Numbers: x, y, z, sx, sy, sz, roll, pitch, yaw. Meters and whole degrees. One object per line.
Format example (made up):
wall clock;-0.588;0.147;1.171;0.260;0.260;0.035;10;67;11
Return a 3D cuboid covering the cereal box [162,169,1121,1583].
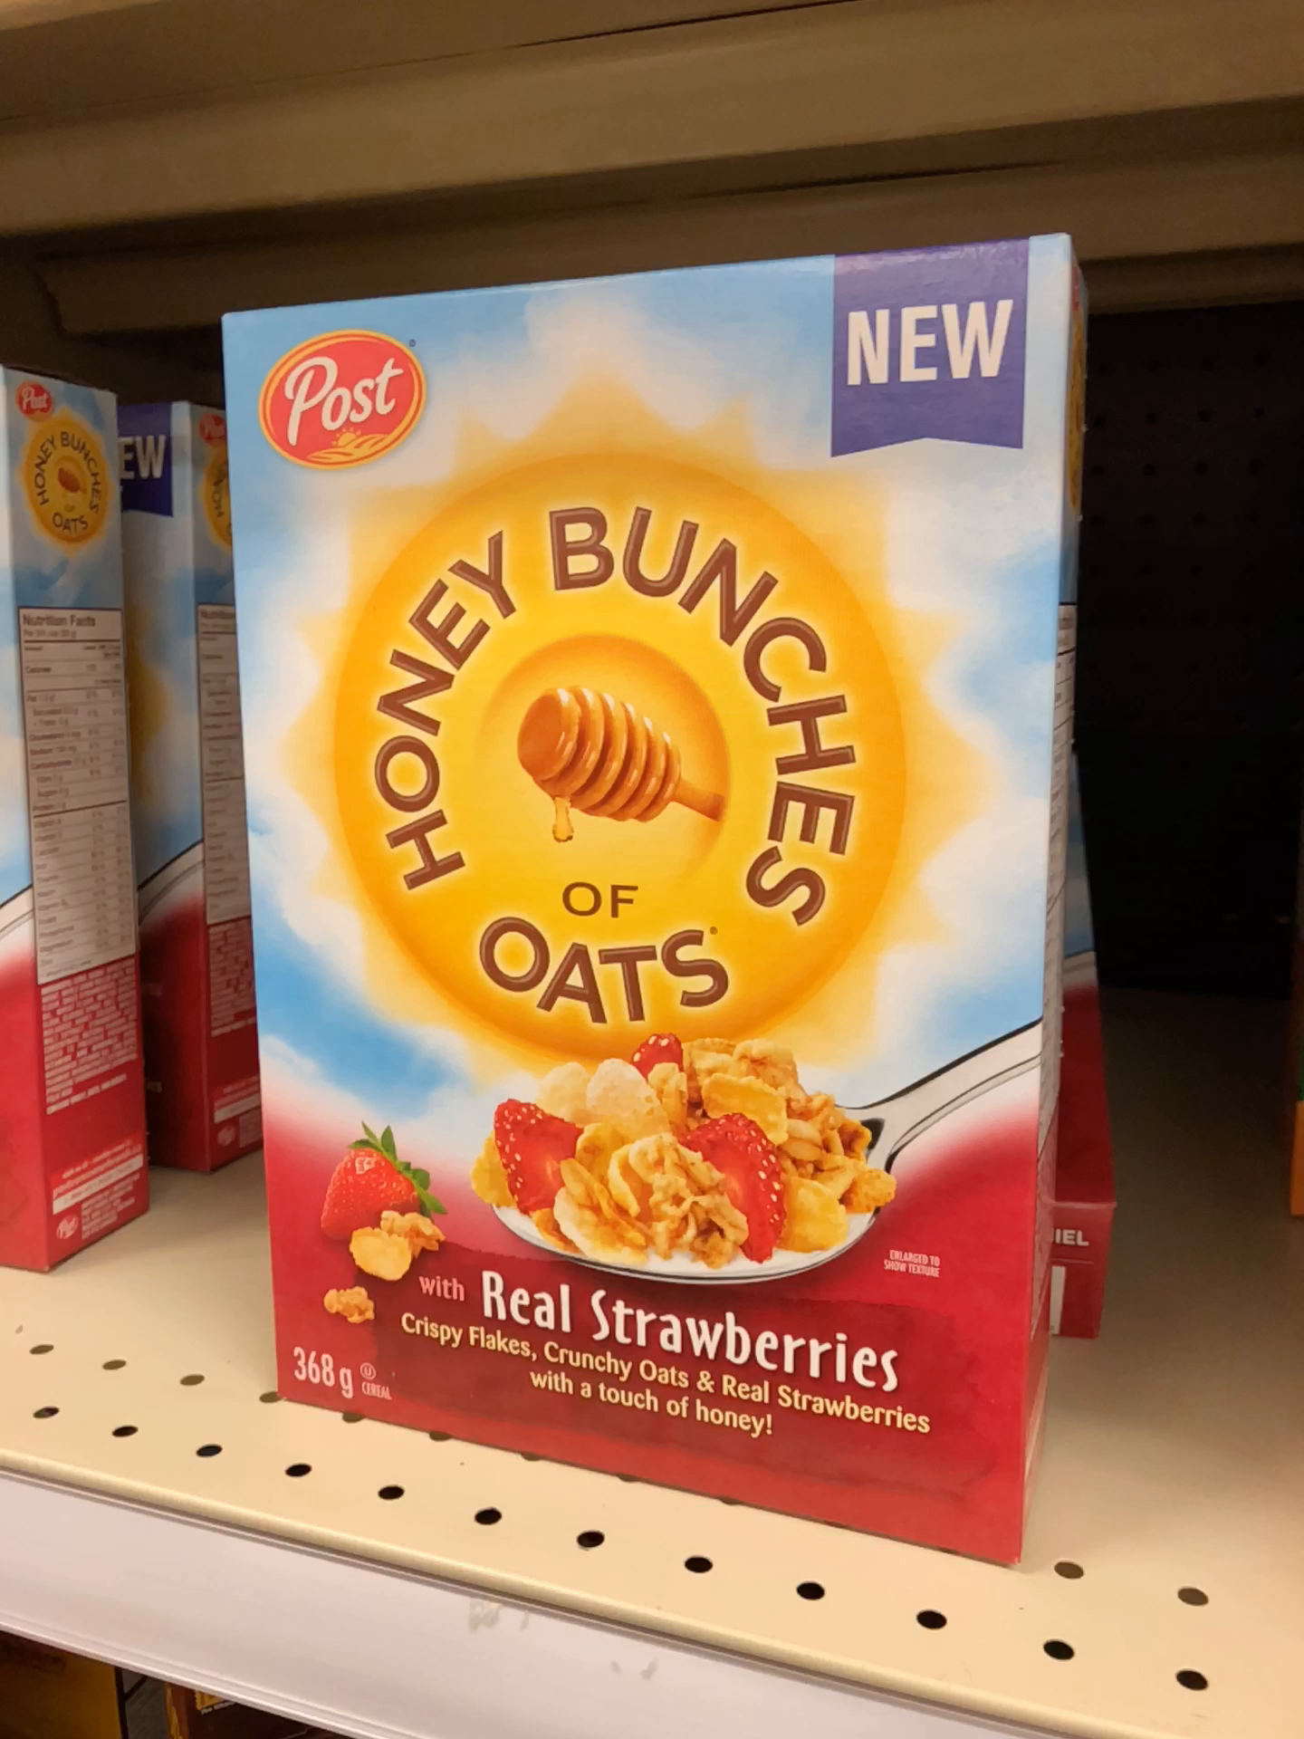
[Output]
cereal box;-0.006;0.002;0.330;0.200;0.269;0.050;4;11;21
